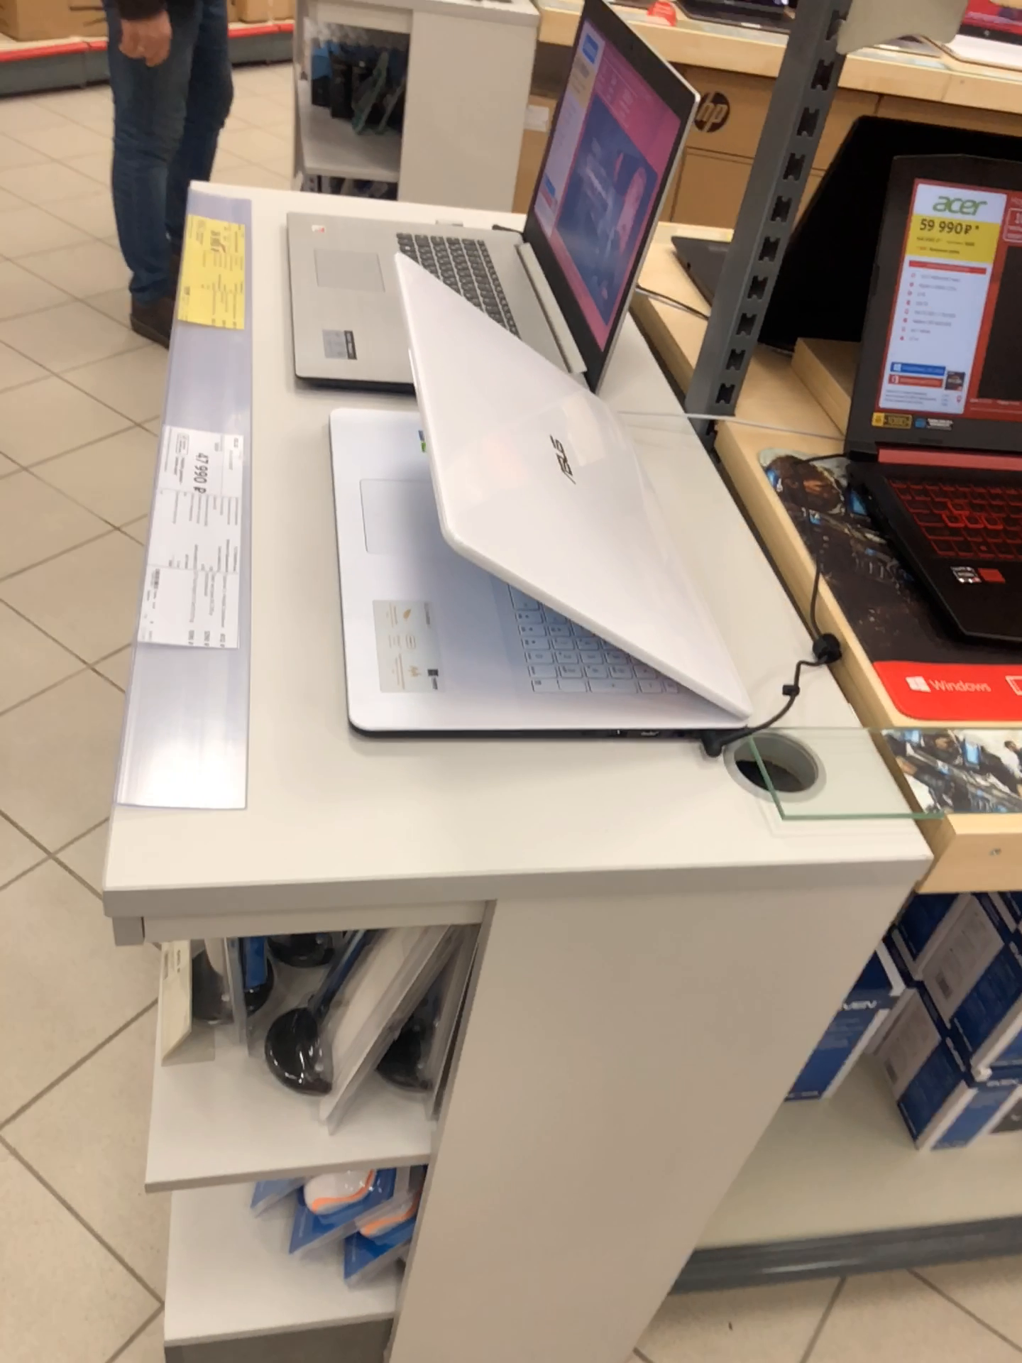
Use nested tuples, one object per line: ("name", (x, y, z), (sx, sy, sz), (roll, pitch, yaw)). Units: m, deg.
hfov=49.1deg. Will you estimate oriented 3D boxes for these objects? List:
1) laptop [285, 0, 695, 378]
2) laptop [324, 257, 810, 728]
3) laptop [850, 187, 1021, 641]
("laptop", (-0.053, -0.528, 1.143), (0.336, 0.262, 0.394), (-1, 42, -15))
("laptop", (0.008, -0.155, 0.838), (0.257, 0.142, 0.392), (0, 42, -14))
("laptop", (0.536, -0.239, 0.946), (0.377, 0.220, 0.367), (2, 40, -7))
